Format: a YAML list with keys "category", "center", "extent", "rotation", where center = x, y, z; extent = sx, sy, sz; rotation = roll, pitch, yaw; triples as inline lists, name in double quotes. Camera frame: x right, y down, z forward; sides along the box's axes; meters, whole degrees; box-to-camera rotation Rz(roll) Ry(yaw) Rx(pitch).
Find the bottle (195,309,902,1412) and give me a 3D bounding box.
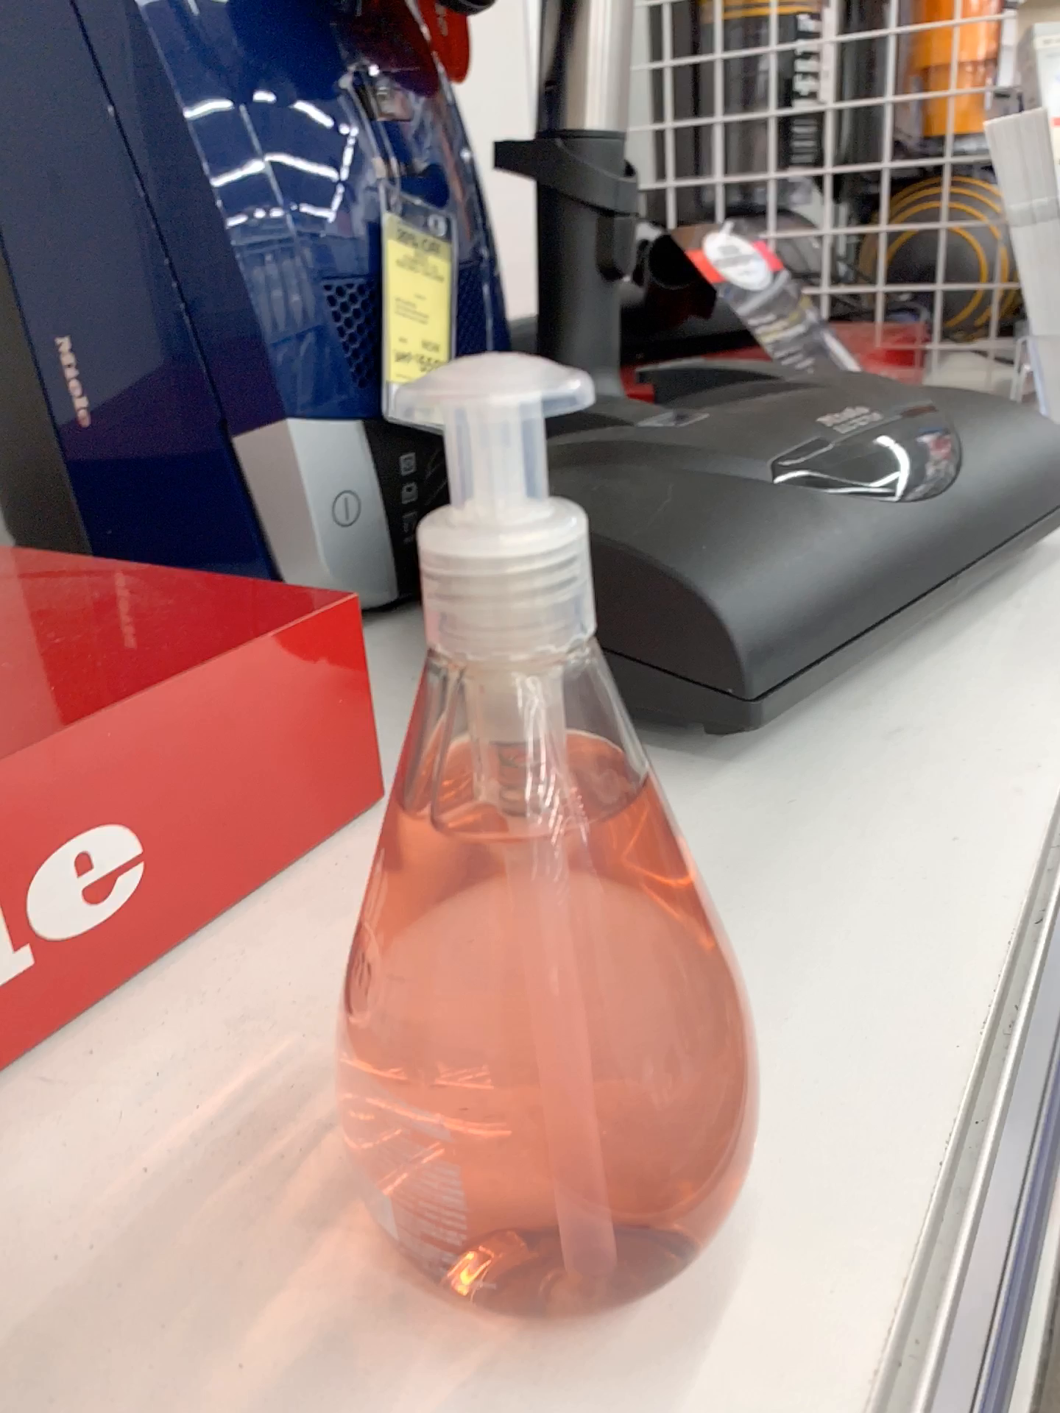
- category: "bottle"
  center: [0.002, 0.020, 0.194]
  extent: [0.077, 0.160, 0.080]
  rotation: [-4, 23, 2]
